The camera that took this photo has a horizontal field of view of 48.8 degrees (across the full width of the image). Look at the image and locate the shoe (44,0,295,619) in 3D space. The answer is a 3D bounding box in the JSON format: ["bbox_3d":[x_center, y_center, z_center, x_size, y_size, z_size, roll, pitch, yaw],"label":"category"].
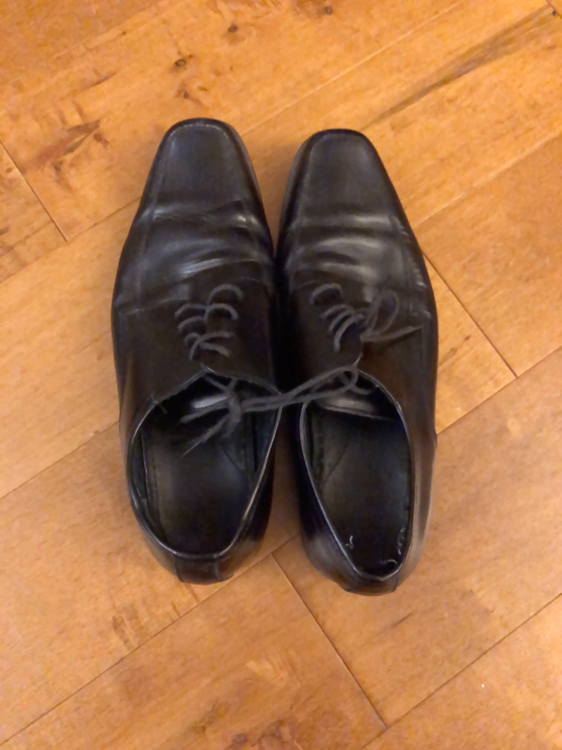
[{"bbox_3d":[-0.054,-0.035,0.365,0.110,0.130,0.310,-1,79,-1],"label":"shoe"}]

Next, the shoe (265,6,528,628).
[{"bbox_3d":[0.049,-0.031,0.364,0.110,0.130,0.310,-1,79,-1],"label":"shoe"}]
